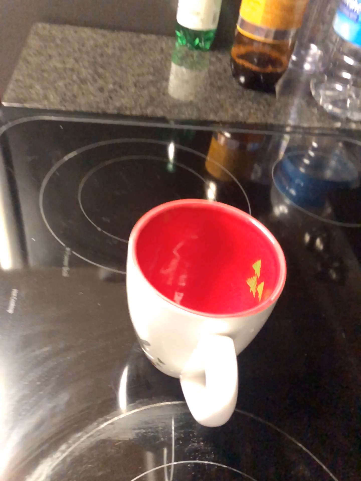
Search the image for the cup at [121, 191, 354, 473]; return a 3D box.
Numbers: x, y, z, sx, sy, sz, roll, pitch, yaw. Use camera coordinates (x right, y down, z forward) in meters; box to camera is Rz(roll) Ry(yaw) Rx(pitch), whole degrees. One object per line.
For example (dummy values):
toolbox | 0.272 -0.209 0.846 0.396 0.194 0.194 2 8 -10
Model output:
cup | 0.016 0.052 0.261 0.100 0.100 0.141 0 45 -11
